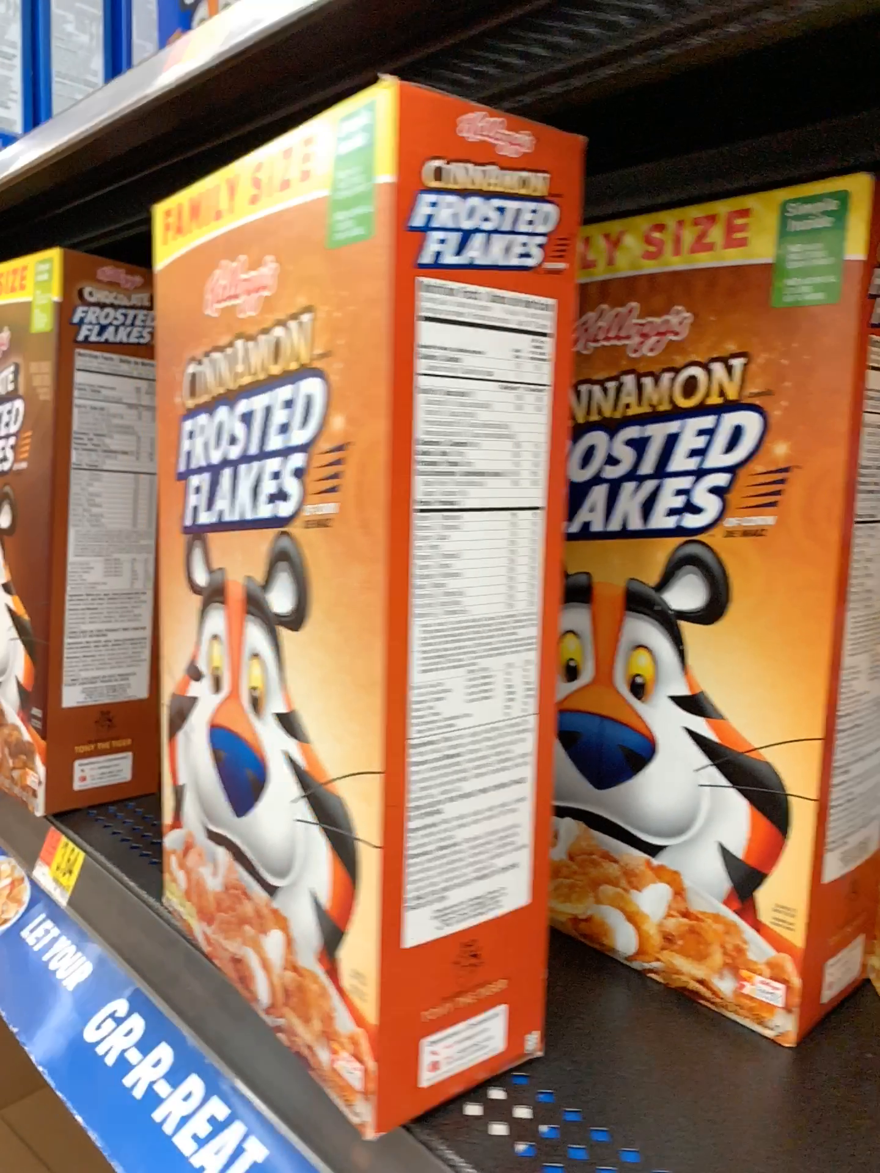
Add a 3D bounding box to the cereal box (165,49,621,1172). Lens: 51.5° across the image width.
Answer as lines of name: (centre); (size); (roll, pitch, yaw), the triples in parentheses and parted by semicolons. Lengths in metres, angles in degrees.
cereal box: (-0.041, 0.006, 0.372); (0.070, 0.339, 0.210); (-3, 10, -36)
